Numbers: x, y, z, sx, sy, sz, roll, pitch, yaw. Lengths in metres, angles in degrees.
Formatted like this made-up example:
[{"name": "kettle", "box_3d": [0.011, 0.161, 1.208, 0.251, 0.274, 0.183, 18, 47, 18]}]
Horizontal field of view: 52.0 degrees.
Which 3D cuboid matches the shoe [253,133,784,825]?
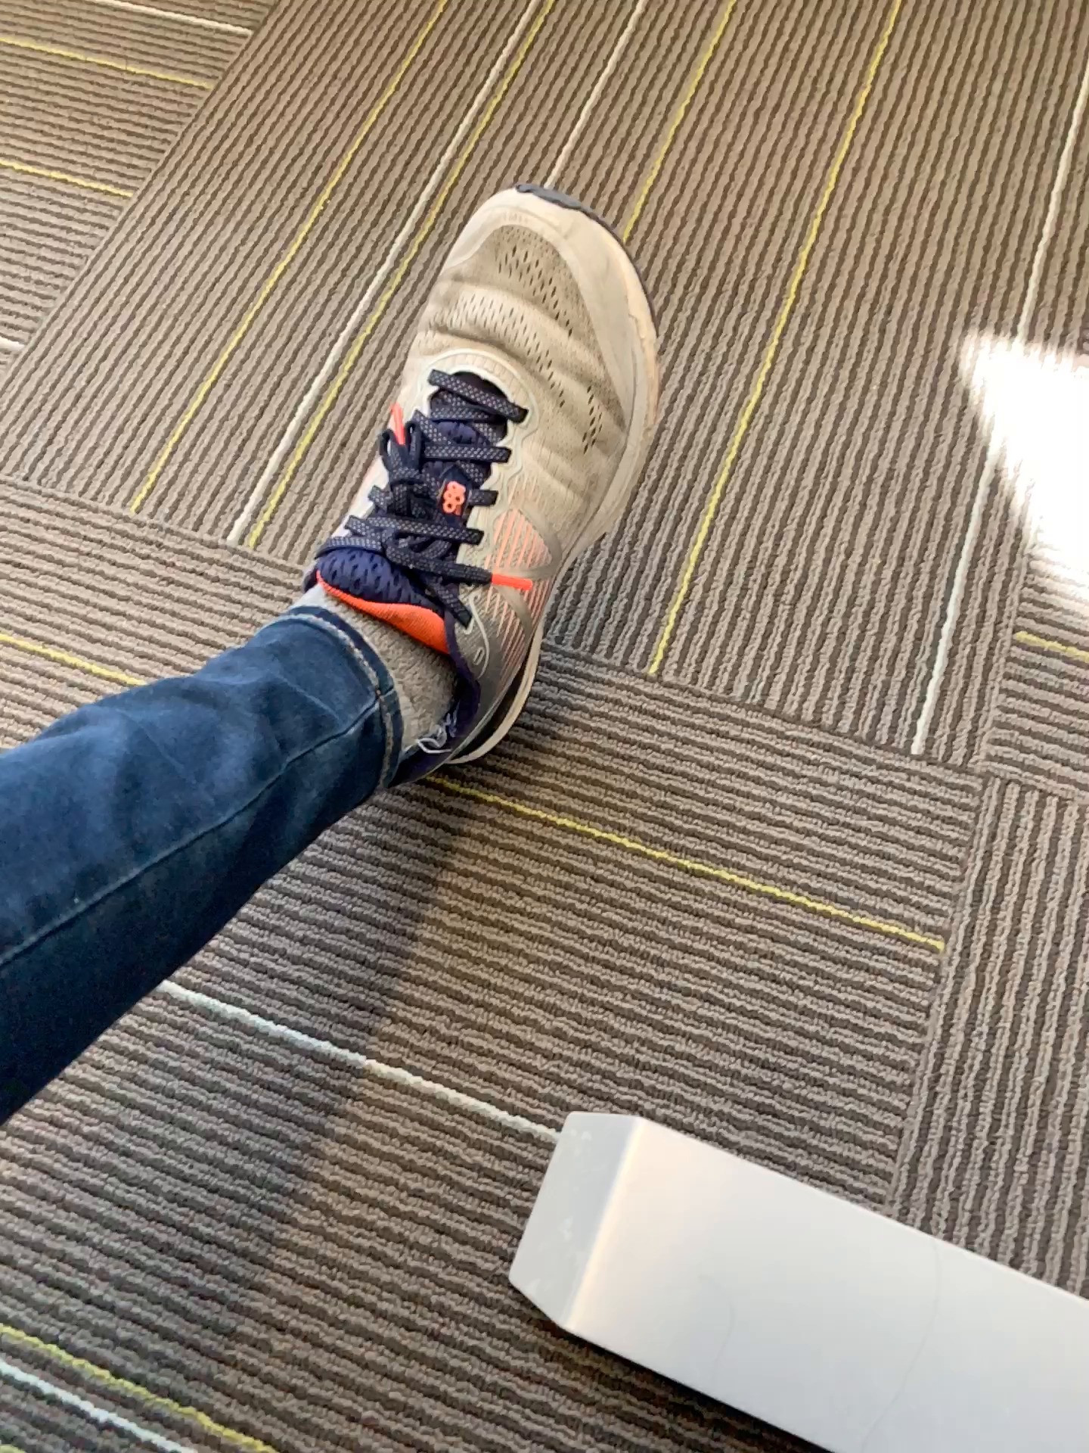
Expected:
[{"name": "shoe", "box_3d": [-0.011, -0.098, 0.477, 0.120, 0.110, 0.230, 28, 108, 14]}]
